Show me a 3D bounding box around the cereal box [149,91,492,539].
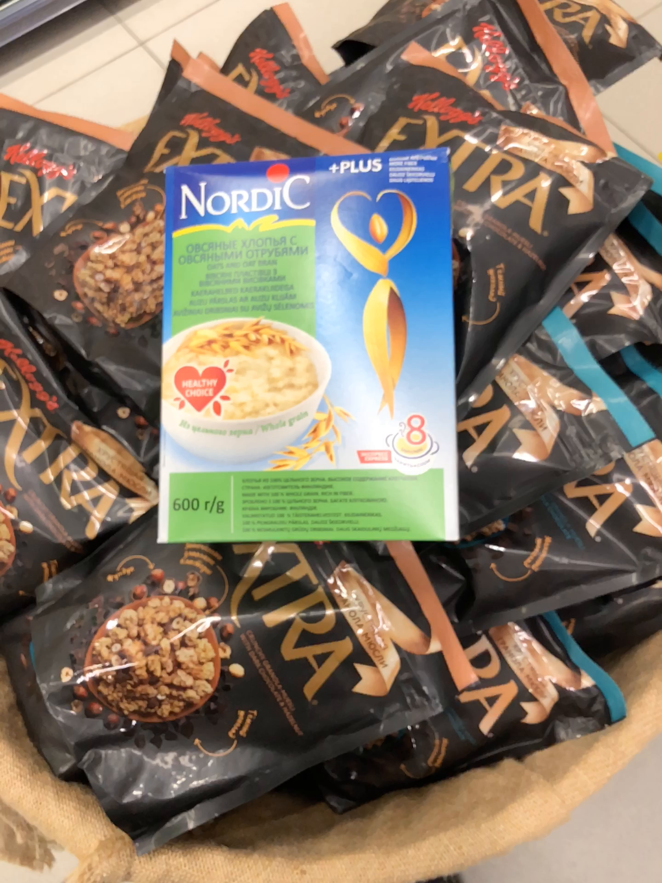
[{"bbox_3d":[-0.002,-0.056,0.389,0.160,0.080,0.210,-1,84,8],"label":"cereal box"}]
